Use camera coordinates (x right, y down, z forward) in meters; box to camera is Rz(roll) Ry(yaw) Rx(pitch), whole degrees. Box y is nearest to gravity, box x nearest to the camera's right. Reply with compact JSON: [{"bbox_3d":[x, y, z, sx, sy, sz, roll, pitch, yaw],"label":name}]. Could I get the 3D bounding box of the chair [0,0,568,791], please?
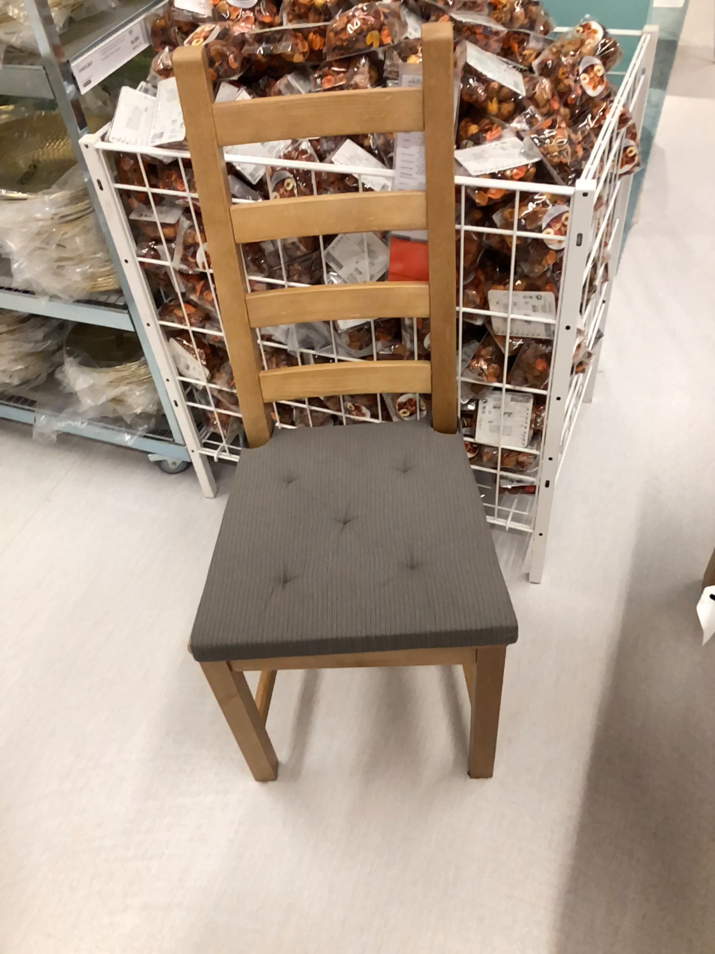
[{"bbox_3d":[-0.039,-0.016,1.013,0.430,0.914,0.473,-3,47,4],"label":"chair"}]
